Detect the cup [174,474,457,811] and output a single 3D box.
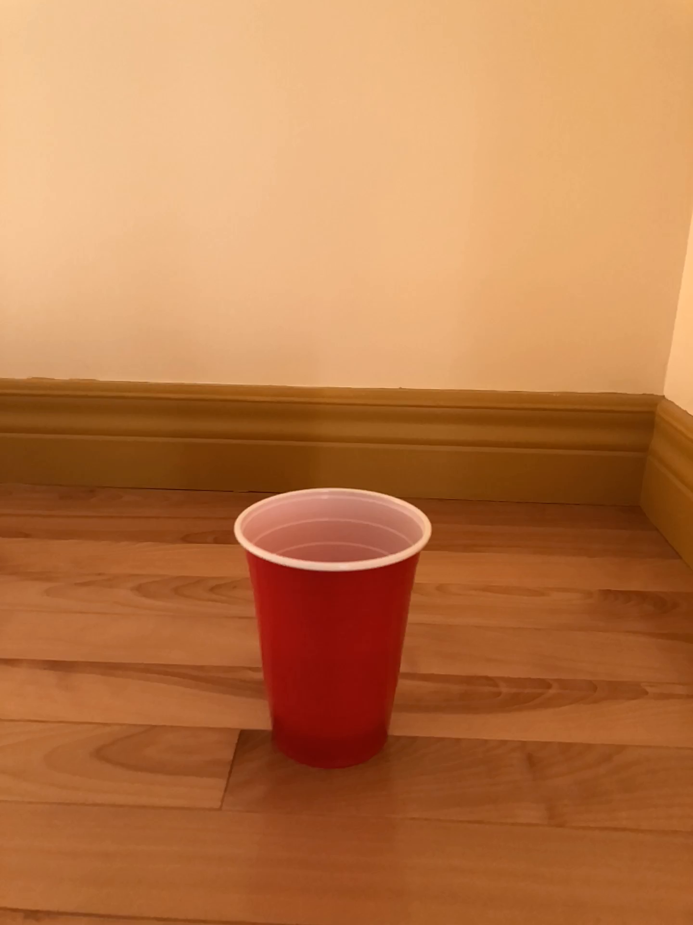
[{"bbox_3d":[-0.011,0.080,0.381,0.100,0.110,0.100,0,18,0],"label":"cup"}]
